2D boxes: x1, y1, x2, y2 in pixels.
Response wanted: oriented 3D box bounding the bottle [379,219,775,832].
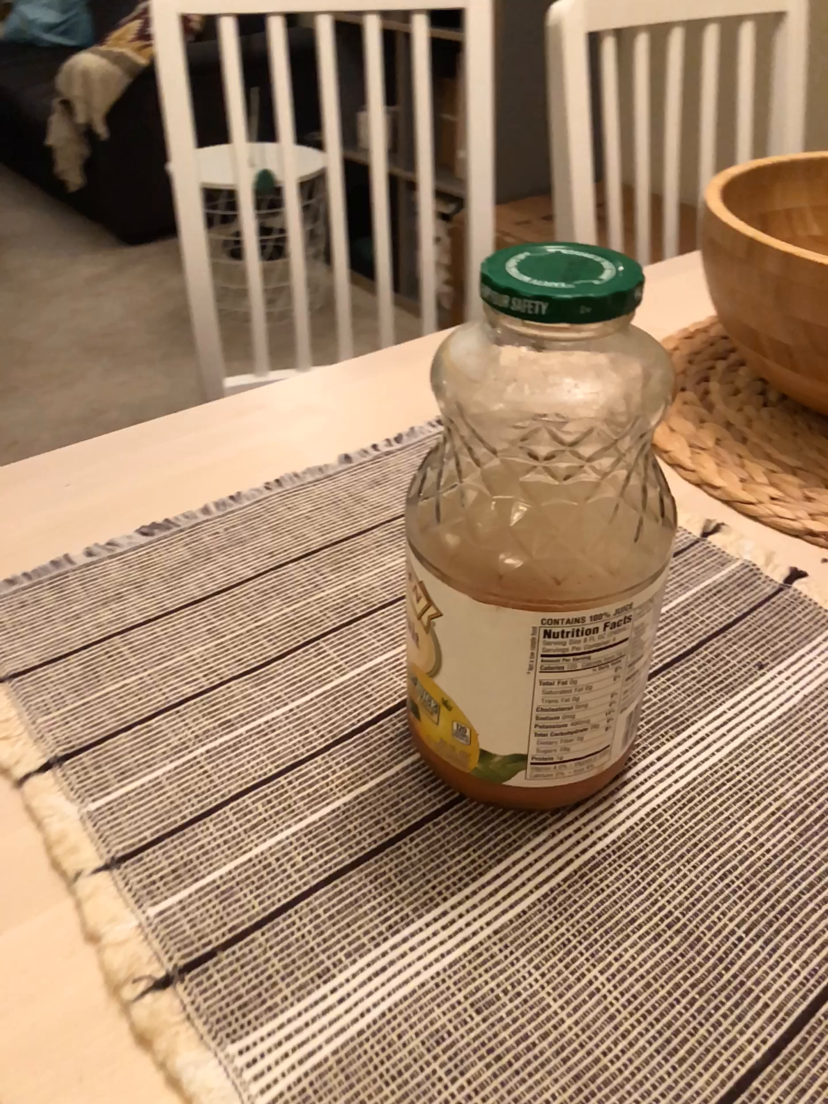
[{"bbox_3d":[0.047,-0.006,0.329,0.100,0.189,0.101,0,36,0],"label":"bottle"}]
